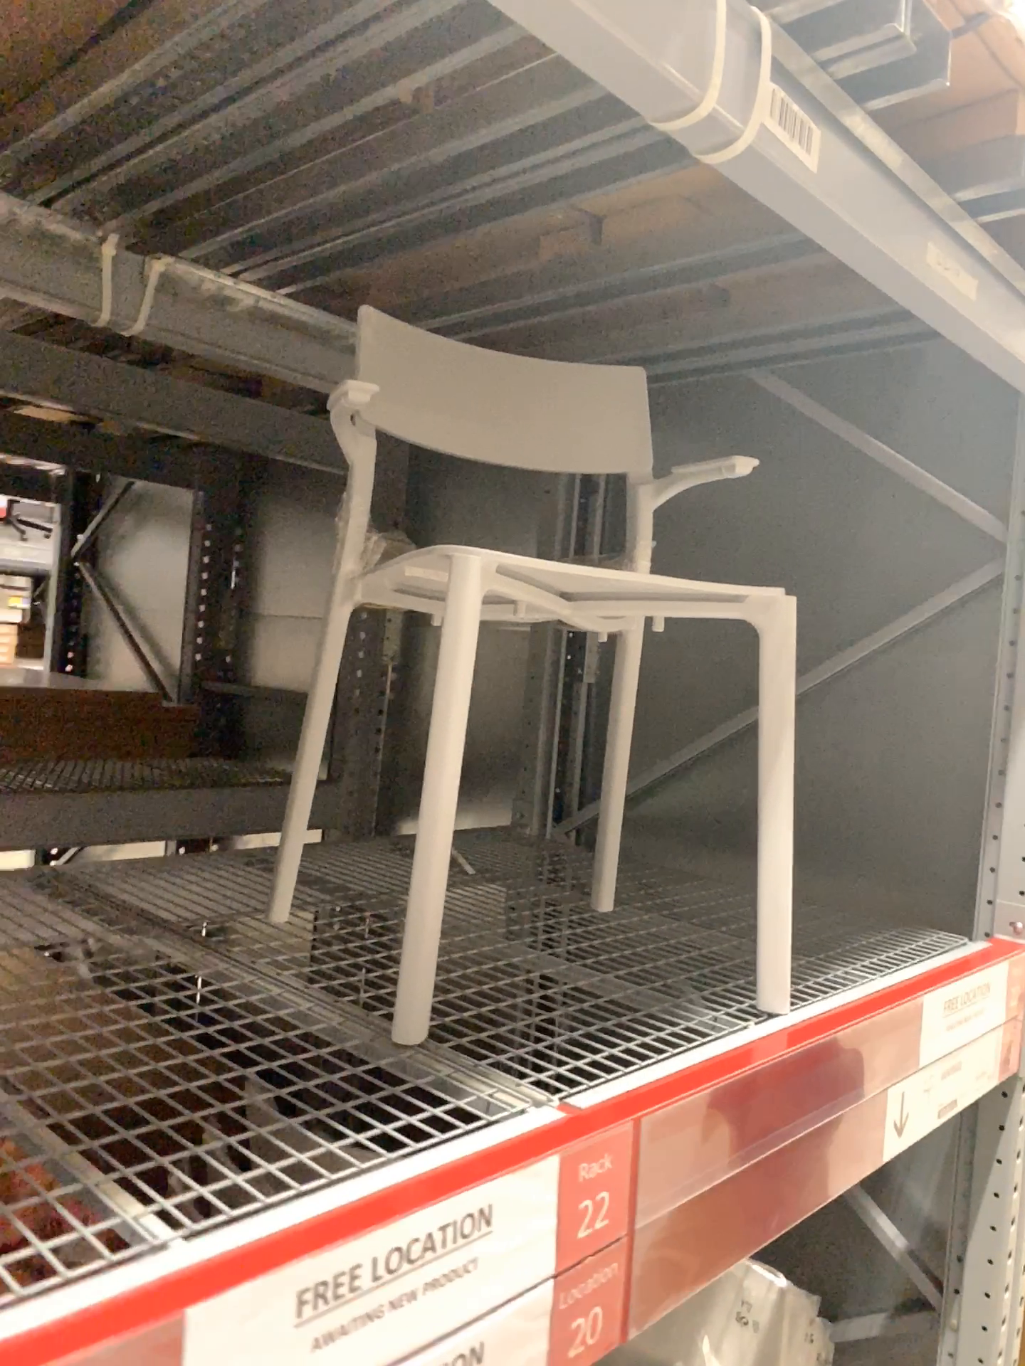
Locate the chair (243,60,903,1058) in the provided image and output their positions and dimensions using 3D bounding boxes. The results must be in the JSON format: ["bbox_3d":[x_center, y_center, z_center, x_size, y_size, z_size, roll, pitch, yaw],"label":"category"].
[{"bbox_3d":[0.027,-0.099,1.211,0.480,0.820,0.550,5,1,-28],"label":"chair"}]
